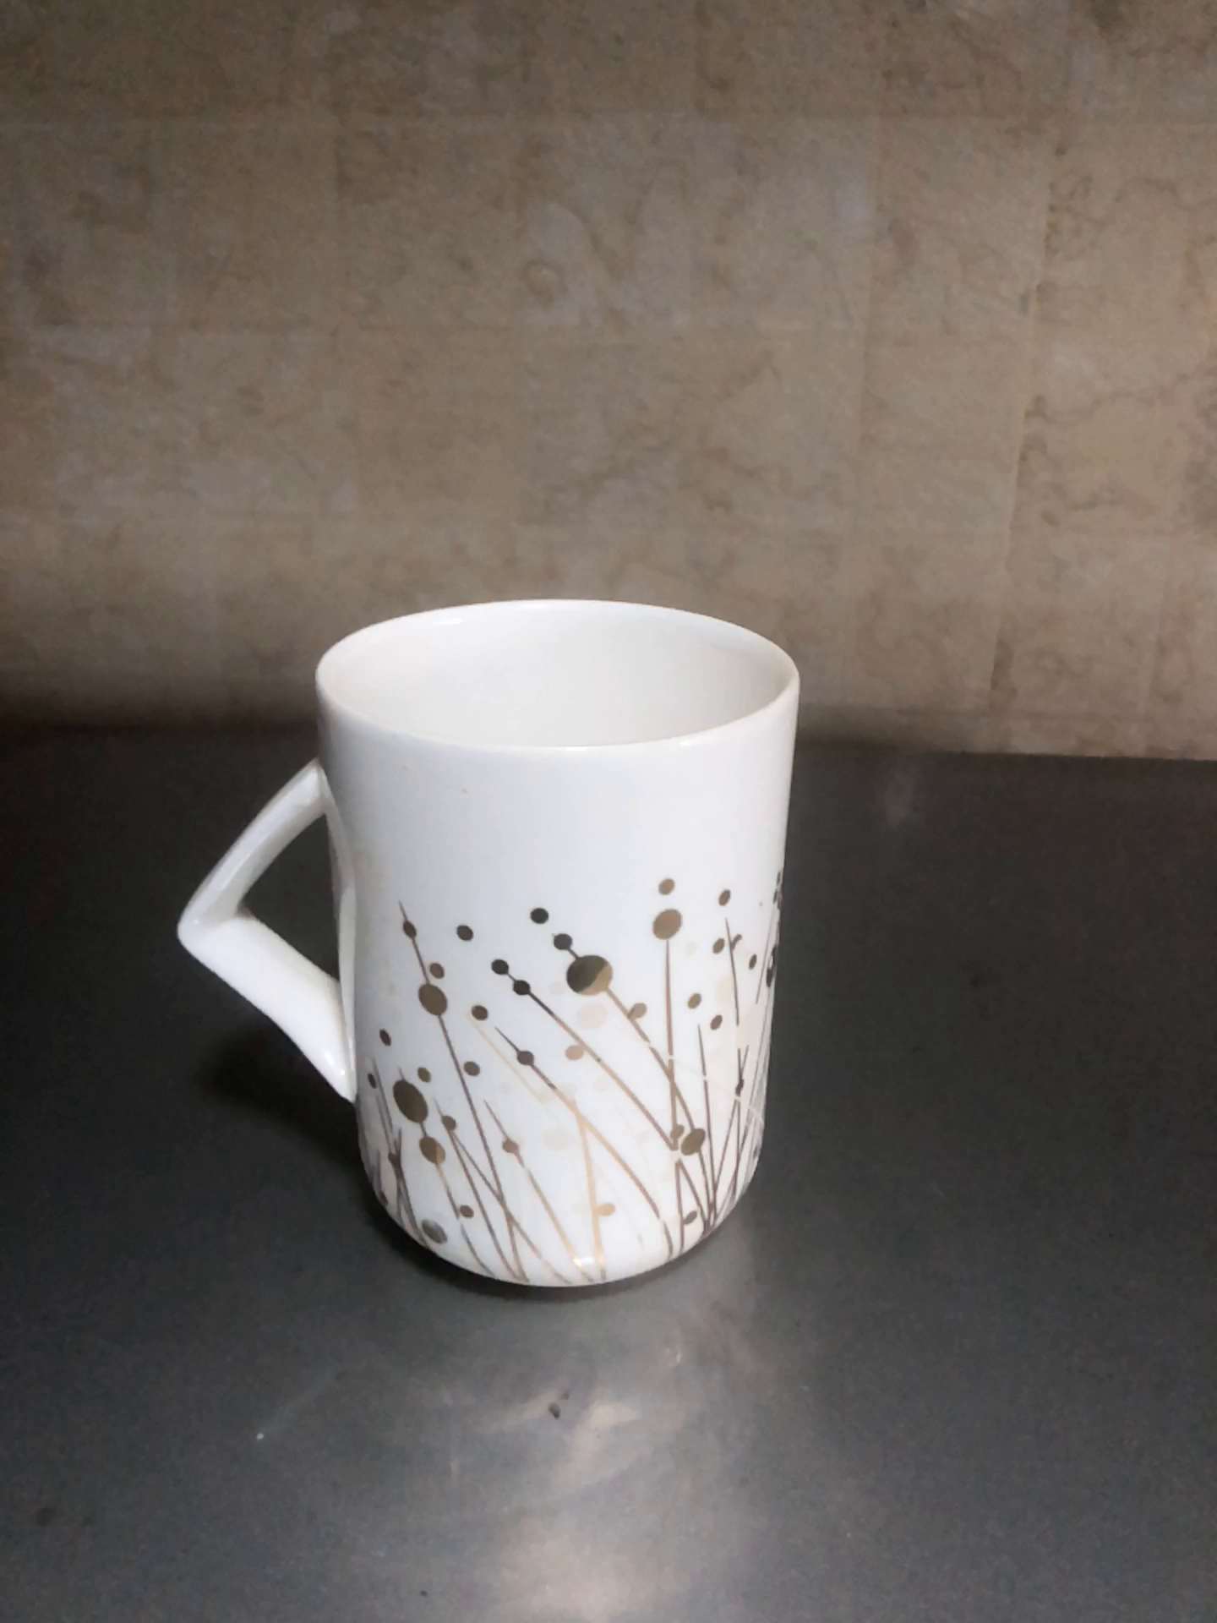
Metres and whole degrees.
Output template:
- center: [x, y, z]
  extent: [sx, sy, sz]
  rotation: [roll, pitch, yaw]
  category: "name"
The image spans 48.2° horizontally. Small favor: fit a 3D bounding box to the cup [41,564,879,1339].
- center: [-0.023, 0.017, 0.235]
  extent: [0.110, 0.099, 0.080]
  rotation: [-3, 24, -7]
  category: "cup"
